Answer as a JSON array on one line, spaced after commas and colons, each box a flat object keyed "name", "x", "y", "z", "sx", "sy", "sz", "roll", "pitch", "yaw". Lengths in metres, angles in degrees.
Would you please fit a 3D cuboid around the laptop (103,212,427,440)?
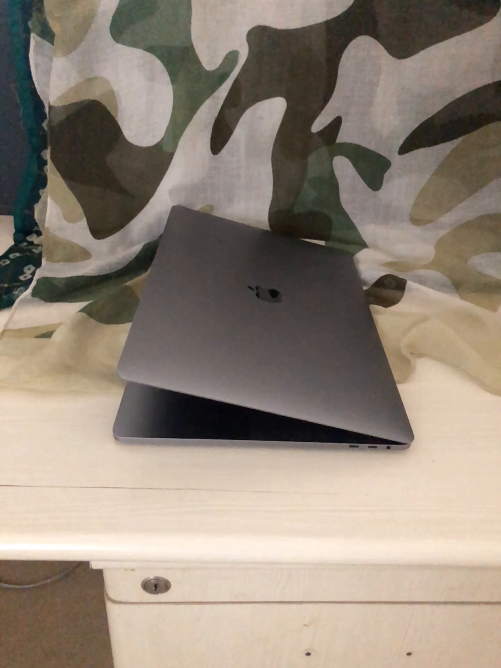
[{"name": "laptop", "x": 0.013, "y": -0.034, "z": 0.562, "sx": 0.236, "sy": 0.058, "sz": 0.340, "roll": 2, "pitch": 32, "yaw": 0}]
